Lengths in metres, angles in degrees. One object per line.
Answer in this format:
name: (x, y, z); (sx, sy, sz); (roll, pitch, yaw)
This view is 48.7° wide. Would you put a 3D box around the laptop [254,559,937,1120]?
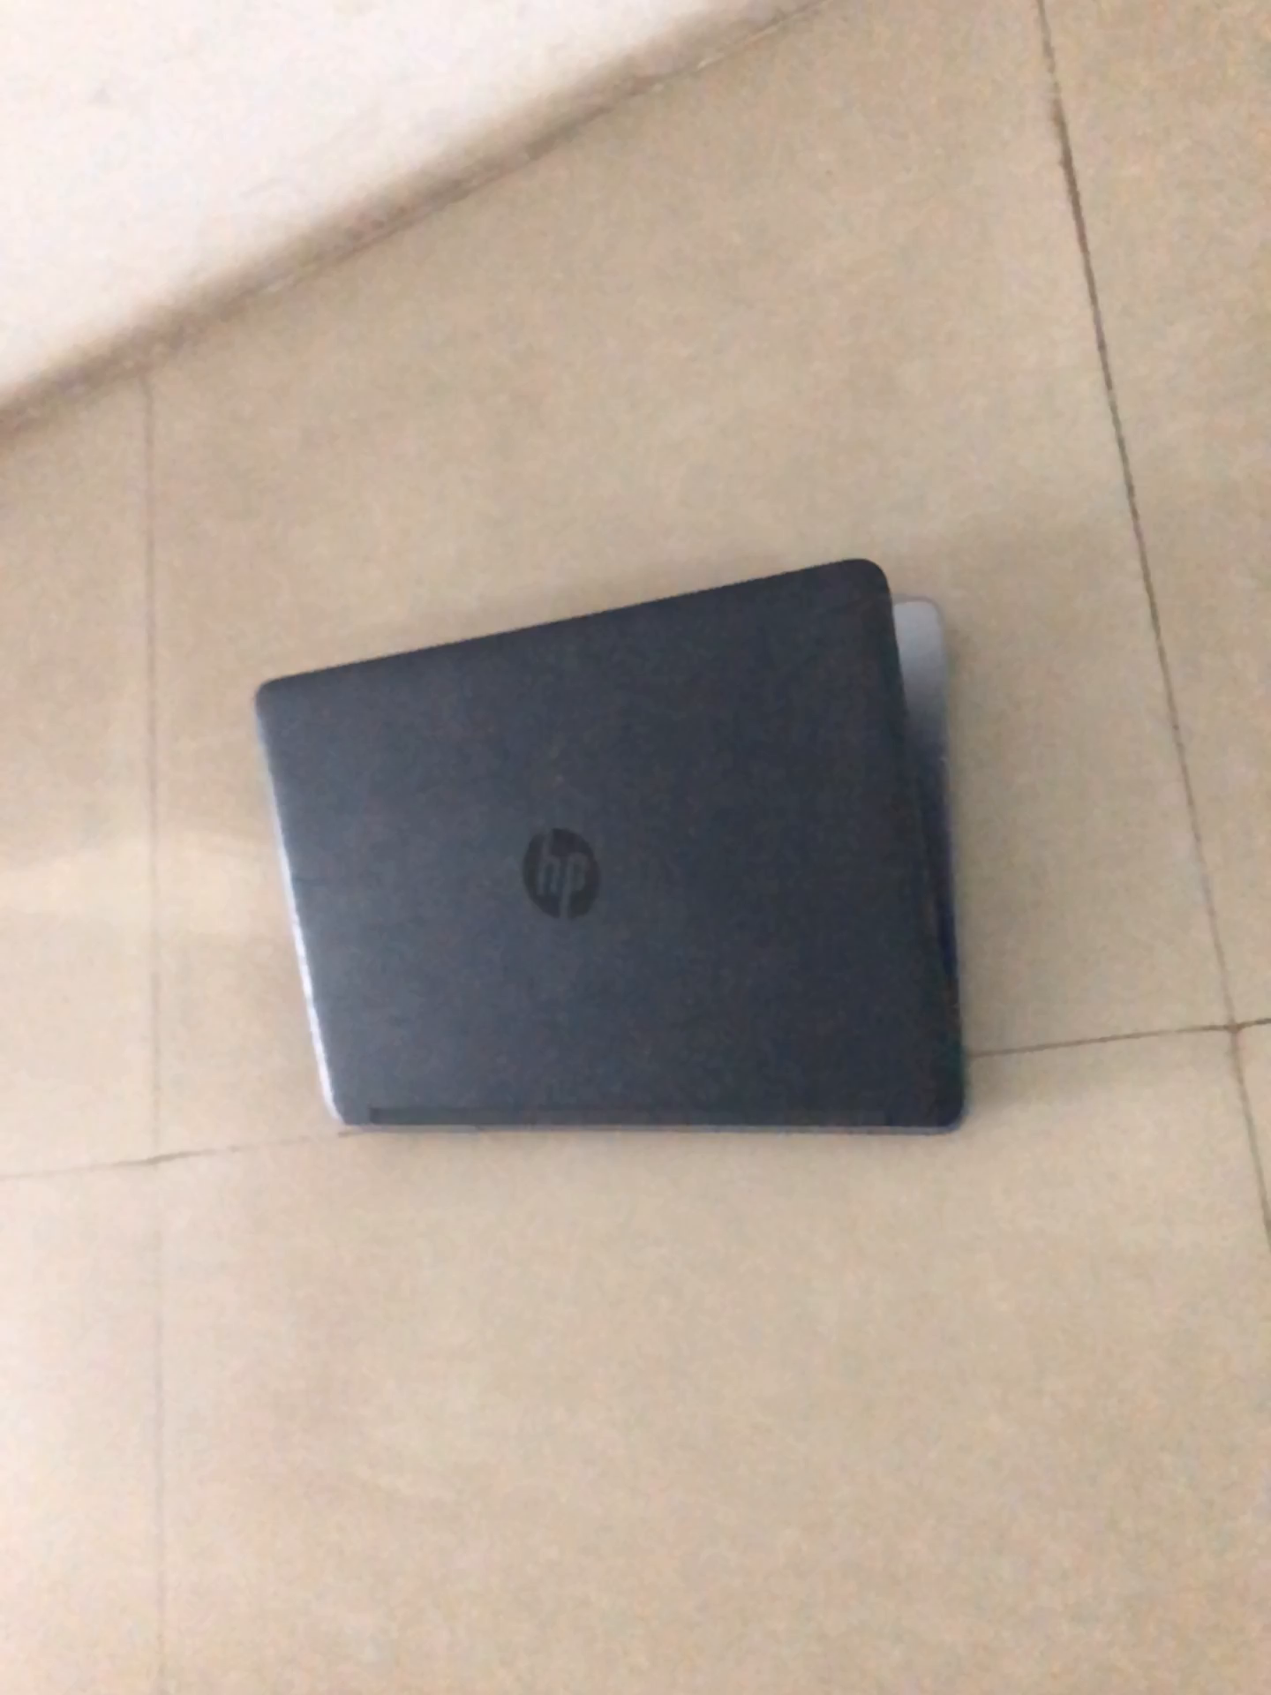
laptop: (-0.030, 0.014, 0.641); (0.305, 0.085, 0.214); (-6, 81, 30)
